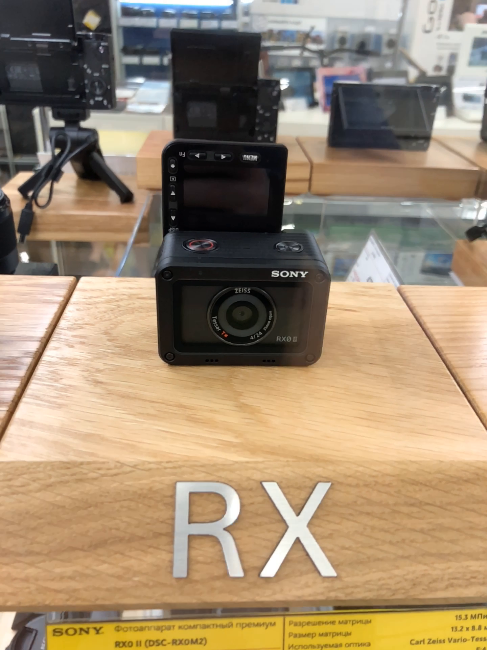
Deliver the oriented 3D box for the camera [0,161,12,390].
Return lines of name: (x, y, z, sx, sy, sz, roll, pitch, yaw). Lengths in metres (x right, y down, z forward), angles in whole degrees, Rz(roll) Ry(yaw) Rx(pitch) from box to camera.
camera: (-0.147, -0.017, 0.190, 0.105, 0.067, 0.041, 1, 30, -3)

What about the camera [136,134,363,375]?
camera: (0.000, -0.025, 0.187, 0.062, 0.067, 0.050, 1, 30, -3)
